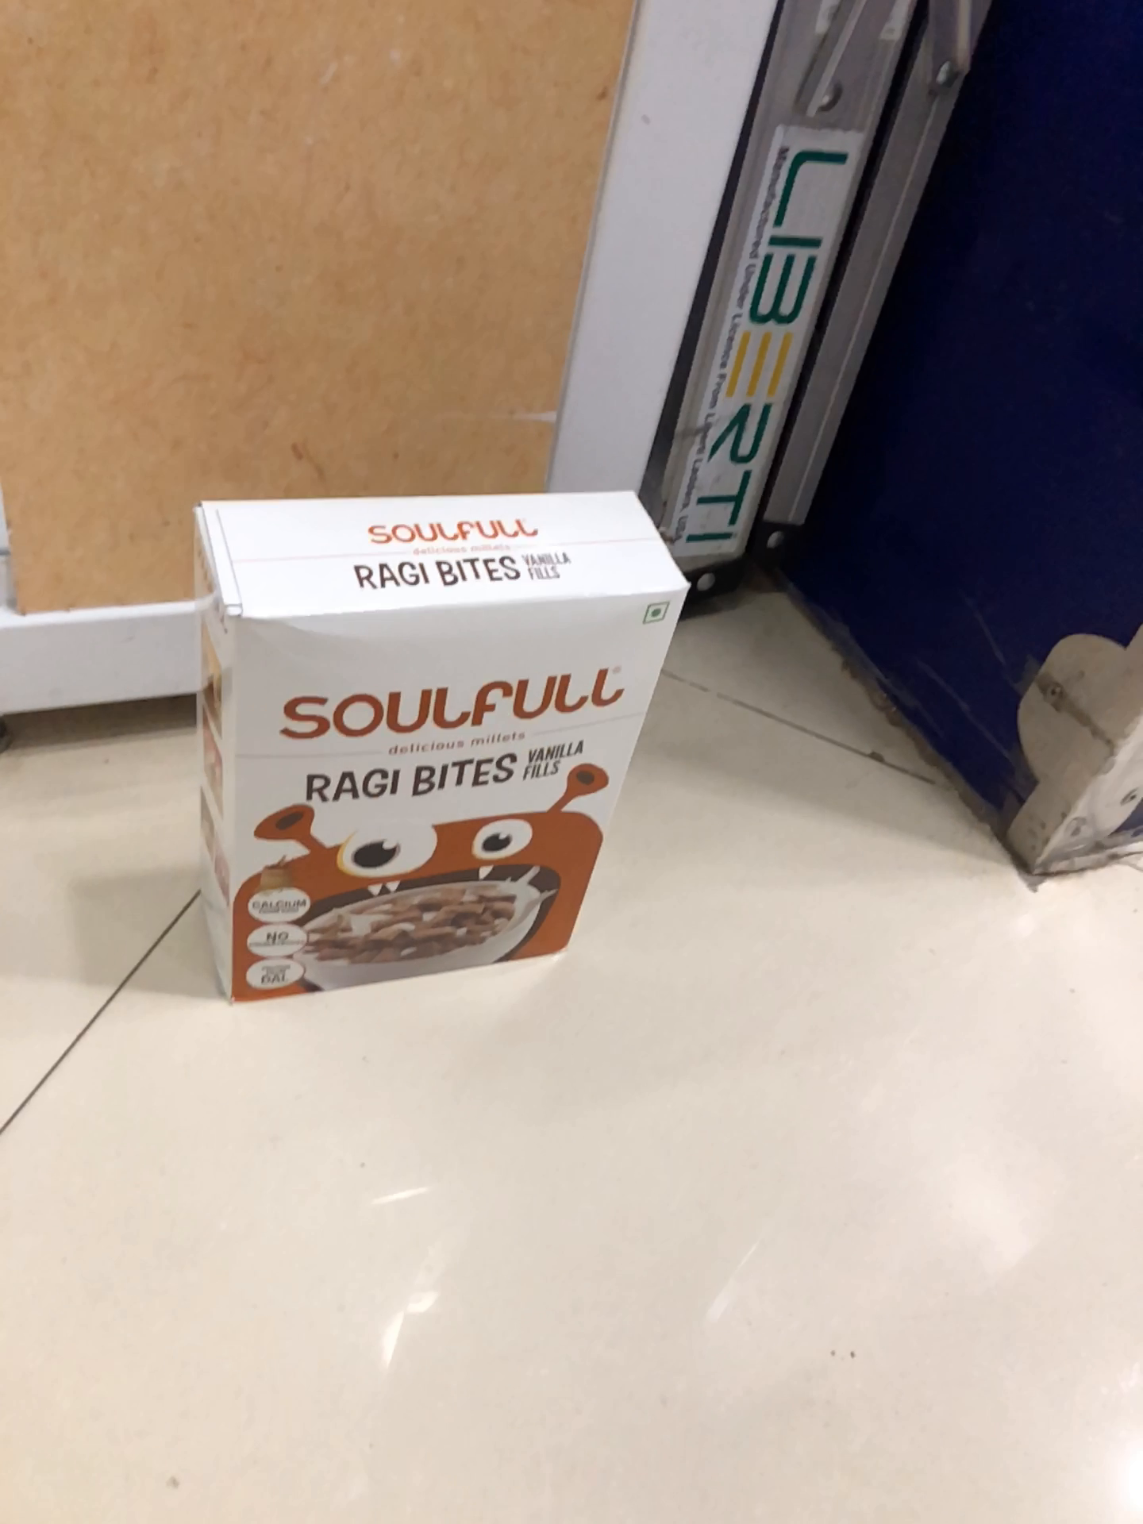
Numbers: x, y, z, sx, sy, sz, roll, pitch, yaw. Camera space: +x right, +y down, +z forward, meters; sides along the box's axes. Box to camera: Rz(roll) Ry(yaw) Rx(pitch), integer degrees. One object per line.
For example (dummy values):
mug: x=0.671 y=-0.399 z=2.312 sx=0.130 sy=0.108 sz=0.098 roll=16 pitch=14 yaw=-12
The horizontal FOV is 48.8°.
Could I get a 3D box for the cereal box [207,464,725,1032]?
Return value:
cereal box: x=-0.060 y=0.002 z=0.526 sx=0.170 sy=0.248 sz=0.070 roll=-6 pitch=49 yaw=-21
